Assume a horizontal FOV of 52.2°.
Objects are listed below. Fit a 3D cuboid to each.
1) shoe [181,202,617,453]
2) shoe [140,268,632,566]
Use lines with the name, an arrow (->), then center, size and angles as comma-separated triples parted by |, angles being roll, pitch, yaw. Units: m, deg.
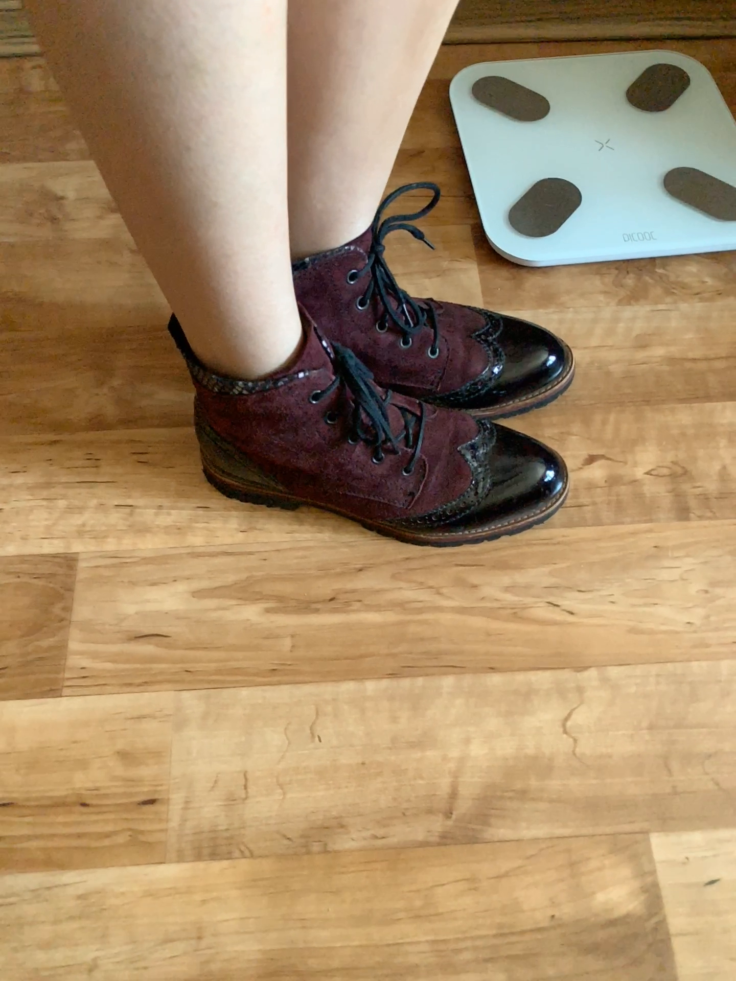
shoe -> 0.018, -0.109, 0.533 | 0.260, 0.140, 0.100 | 2, 62, 0
shoe -> 0.013, -0.041, 0.480 | 0.260, 0.140, 0.100 | 7, 62, 2
